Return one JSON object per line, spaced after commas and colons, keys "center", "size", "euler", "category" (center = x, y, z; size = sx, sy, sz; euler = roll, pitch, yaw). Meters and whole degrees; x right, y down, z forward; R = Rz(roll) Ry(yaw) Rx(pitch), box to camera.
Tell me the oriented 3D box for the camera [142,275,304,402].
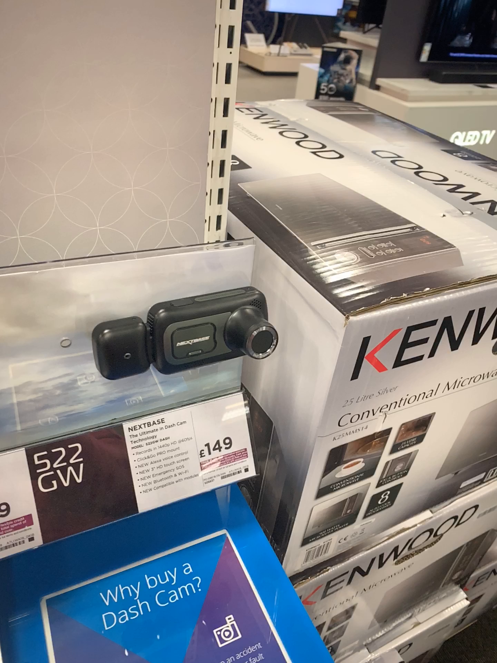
{"center": [-0.019, 0.001, 0.380], "size": [0.100, 0.050, 0.060], "euler": [-14, 35, -27], "category": "camera"}
